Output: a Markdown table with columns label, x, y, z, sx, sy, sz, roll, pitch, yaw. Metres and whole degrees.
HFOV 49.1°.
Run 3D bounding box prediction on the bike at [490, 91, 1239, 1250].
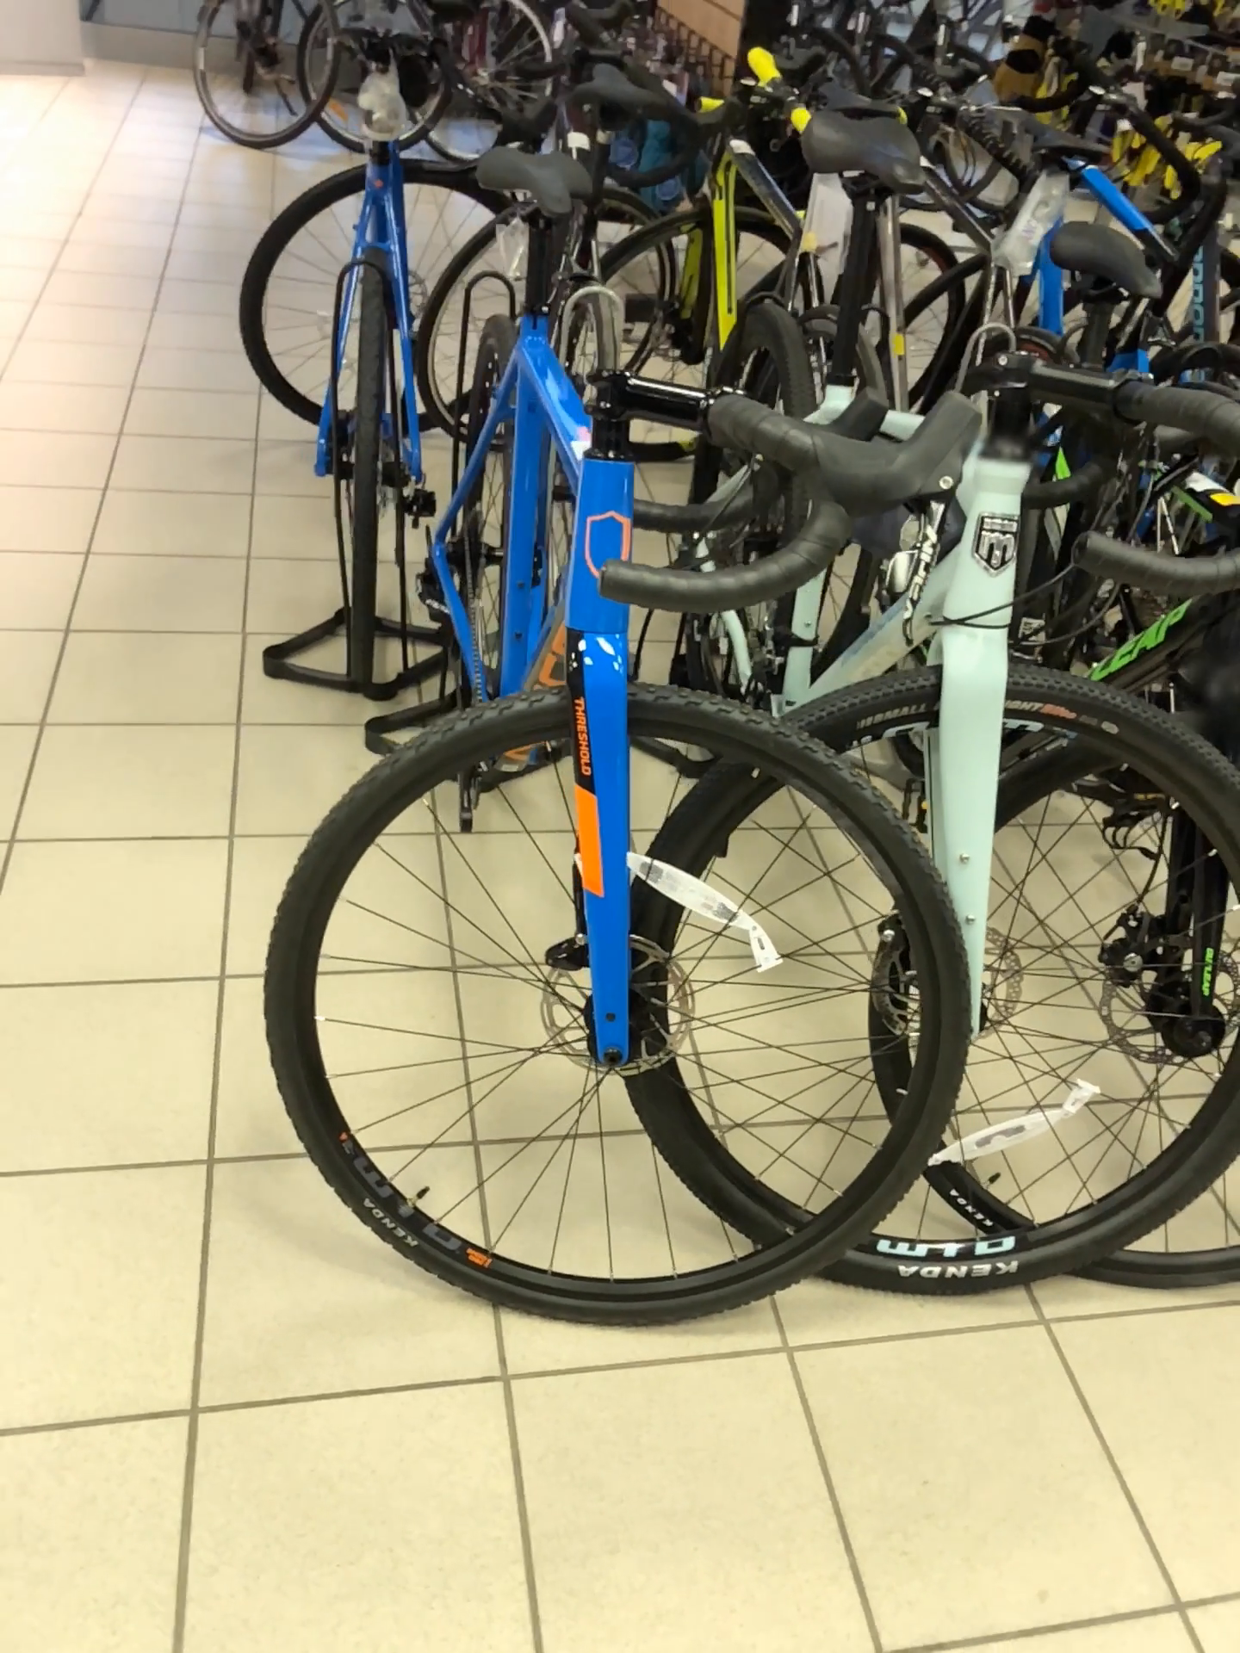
| label | x | y | z | sx | sy | sz | roll | pitch | yaw |
| --- | --- | --- | --- | --- | --- | --- | --- | --- | --- |
| bike | 0.418 | -0.304 | 1.830 | 0.616 | 0.870 | 1.427 | -8 | 40 | -22 |

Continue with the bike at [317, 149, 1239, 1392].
| label | x | y | z | sx | sy | sz | roll | pitch | yaw |
| --- | --- | --- | --- | --- | --- | --- | --- | --- | --- |
| bike | 0.058 | -0.177 | 1.823 | 0.525 | 0.805 | 1.475 | -9 | 44 | -22 |
